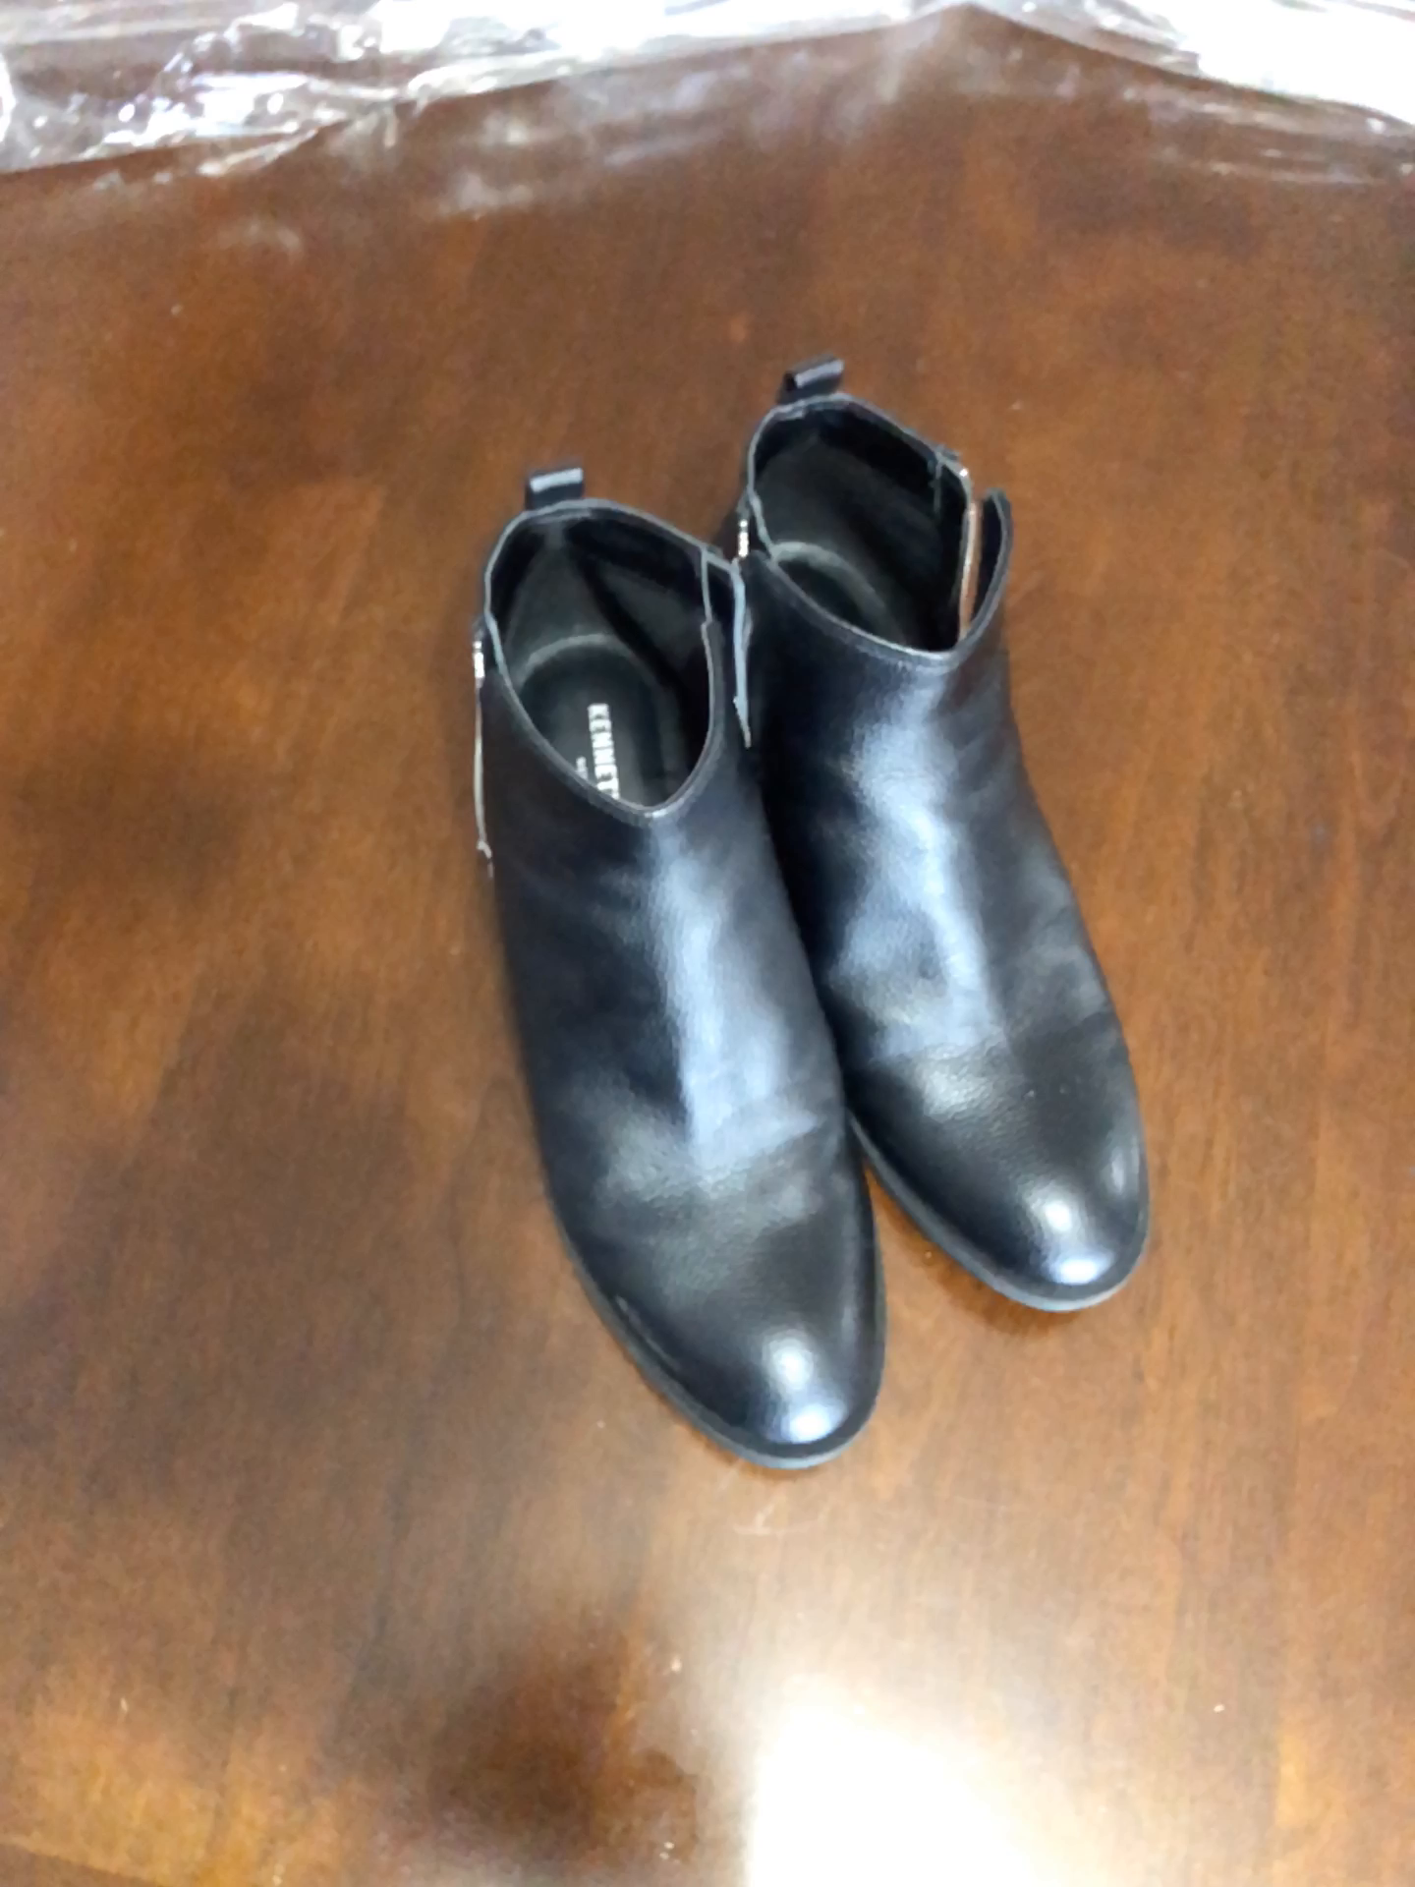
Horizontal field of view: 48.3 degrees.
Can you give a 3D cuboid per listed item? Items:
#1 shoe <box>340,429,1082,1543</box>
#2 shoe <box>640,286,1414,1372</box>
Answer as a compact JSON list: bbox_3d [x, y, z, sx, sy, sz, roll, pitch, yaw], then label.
[{"bbox_3d":[-0.010,0.013,0.435,0.100,0.130,0.260,-16,68,-9],"label":"shoe"},{"bbox_3d":[0.073,-0.031,0.448,0.100,0.130,0.260,-19,69,-10],"label":"shoe"}]
